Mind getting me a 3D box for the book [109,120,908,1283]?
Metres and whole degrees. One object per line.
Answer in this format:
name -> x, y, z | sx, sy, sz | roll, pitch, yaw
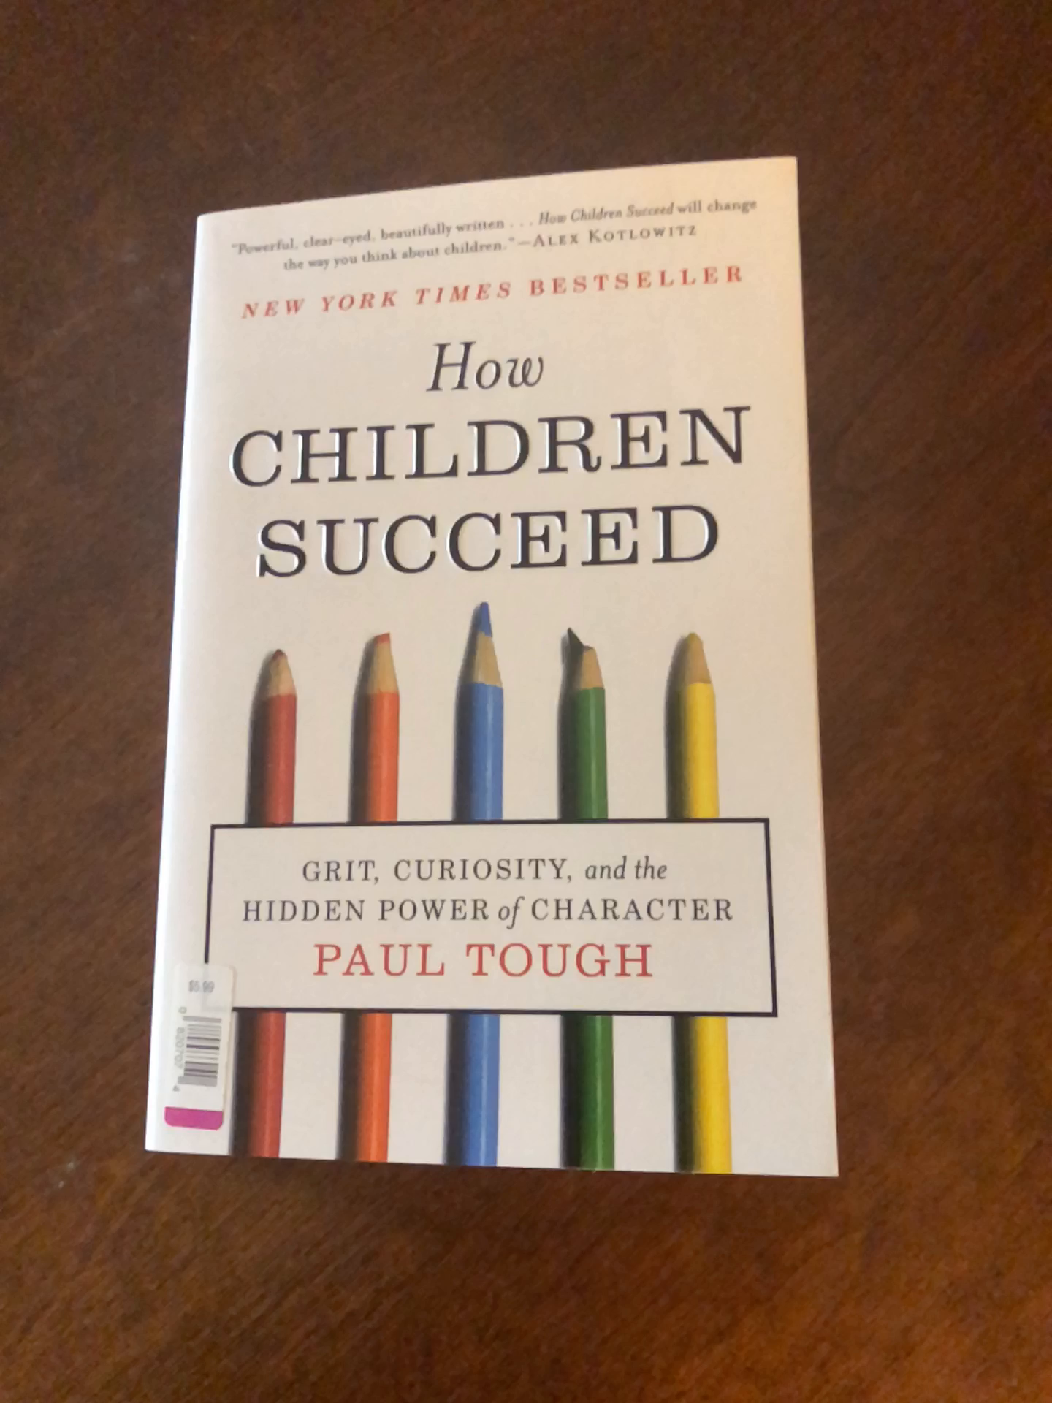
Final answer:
book -> -0.004, -0.004, 0.234 | 0.140, 0.030, 0.210 | -2, 80, 9
